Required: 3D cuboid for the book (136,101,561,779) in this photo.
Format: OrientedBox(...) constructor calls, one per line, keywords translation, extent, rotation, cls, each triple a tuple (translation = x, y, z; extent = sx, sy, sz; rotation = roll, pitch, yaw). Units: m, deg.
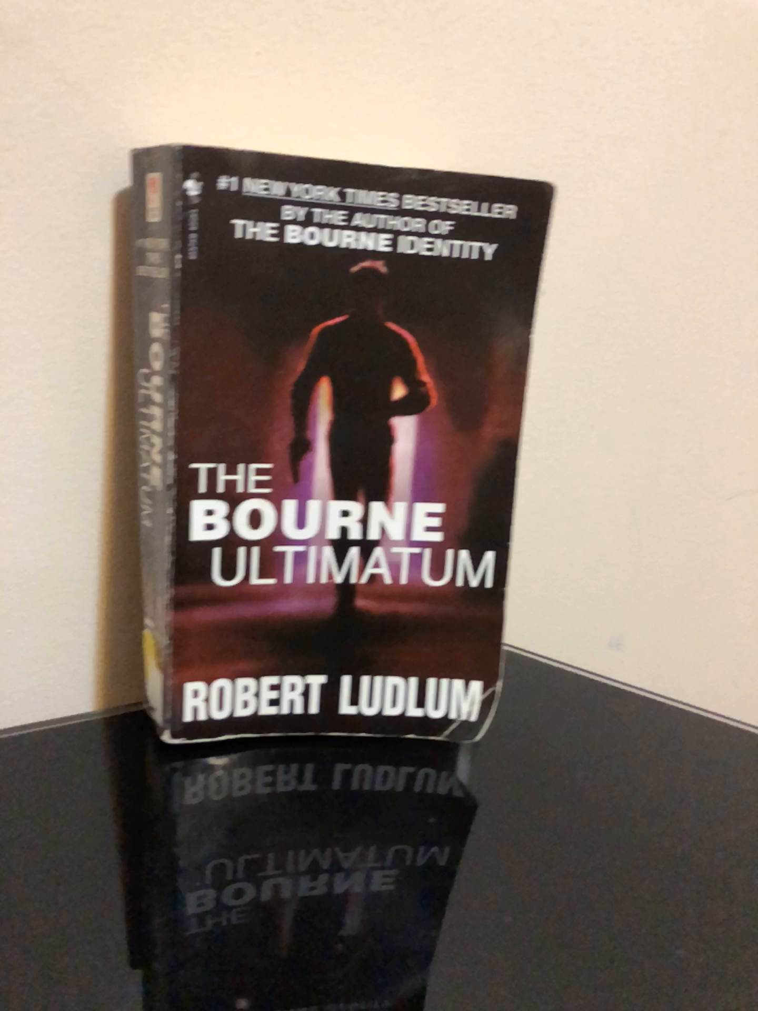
OrientedBox(translation=(-0.016, -0.020, 0.285), extent=(0.120, 0.190, 0.070), rotation=(-2, 12, -17), cls="book")
